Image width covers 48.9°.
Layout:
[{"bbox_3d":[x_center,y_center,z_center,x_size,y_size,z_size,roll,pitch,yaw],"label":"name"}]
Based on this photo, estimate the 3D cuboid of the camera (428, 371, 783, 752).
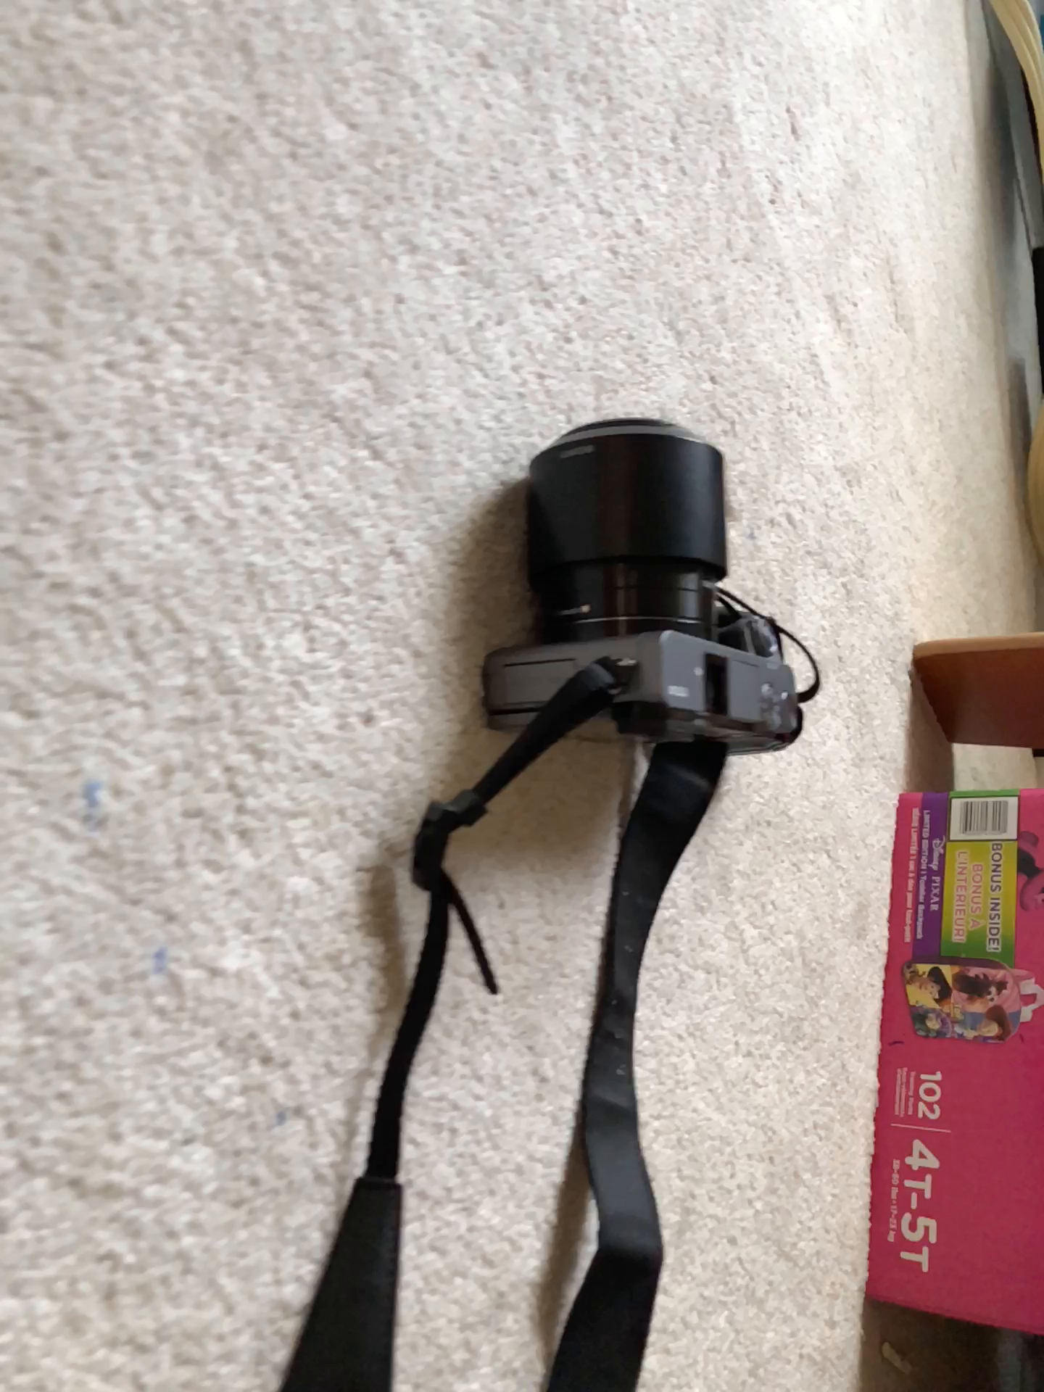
[{"bbox_3d":[0.033,-0.035,0.388,0.121,0.070,0.100,9,79,-58],"label":"camera"}]
